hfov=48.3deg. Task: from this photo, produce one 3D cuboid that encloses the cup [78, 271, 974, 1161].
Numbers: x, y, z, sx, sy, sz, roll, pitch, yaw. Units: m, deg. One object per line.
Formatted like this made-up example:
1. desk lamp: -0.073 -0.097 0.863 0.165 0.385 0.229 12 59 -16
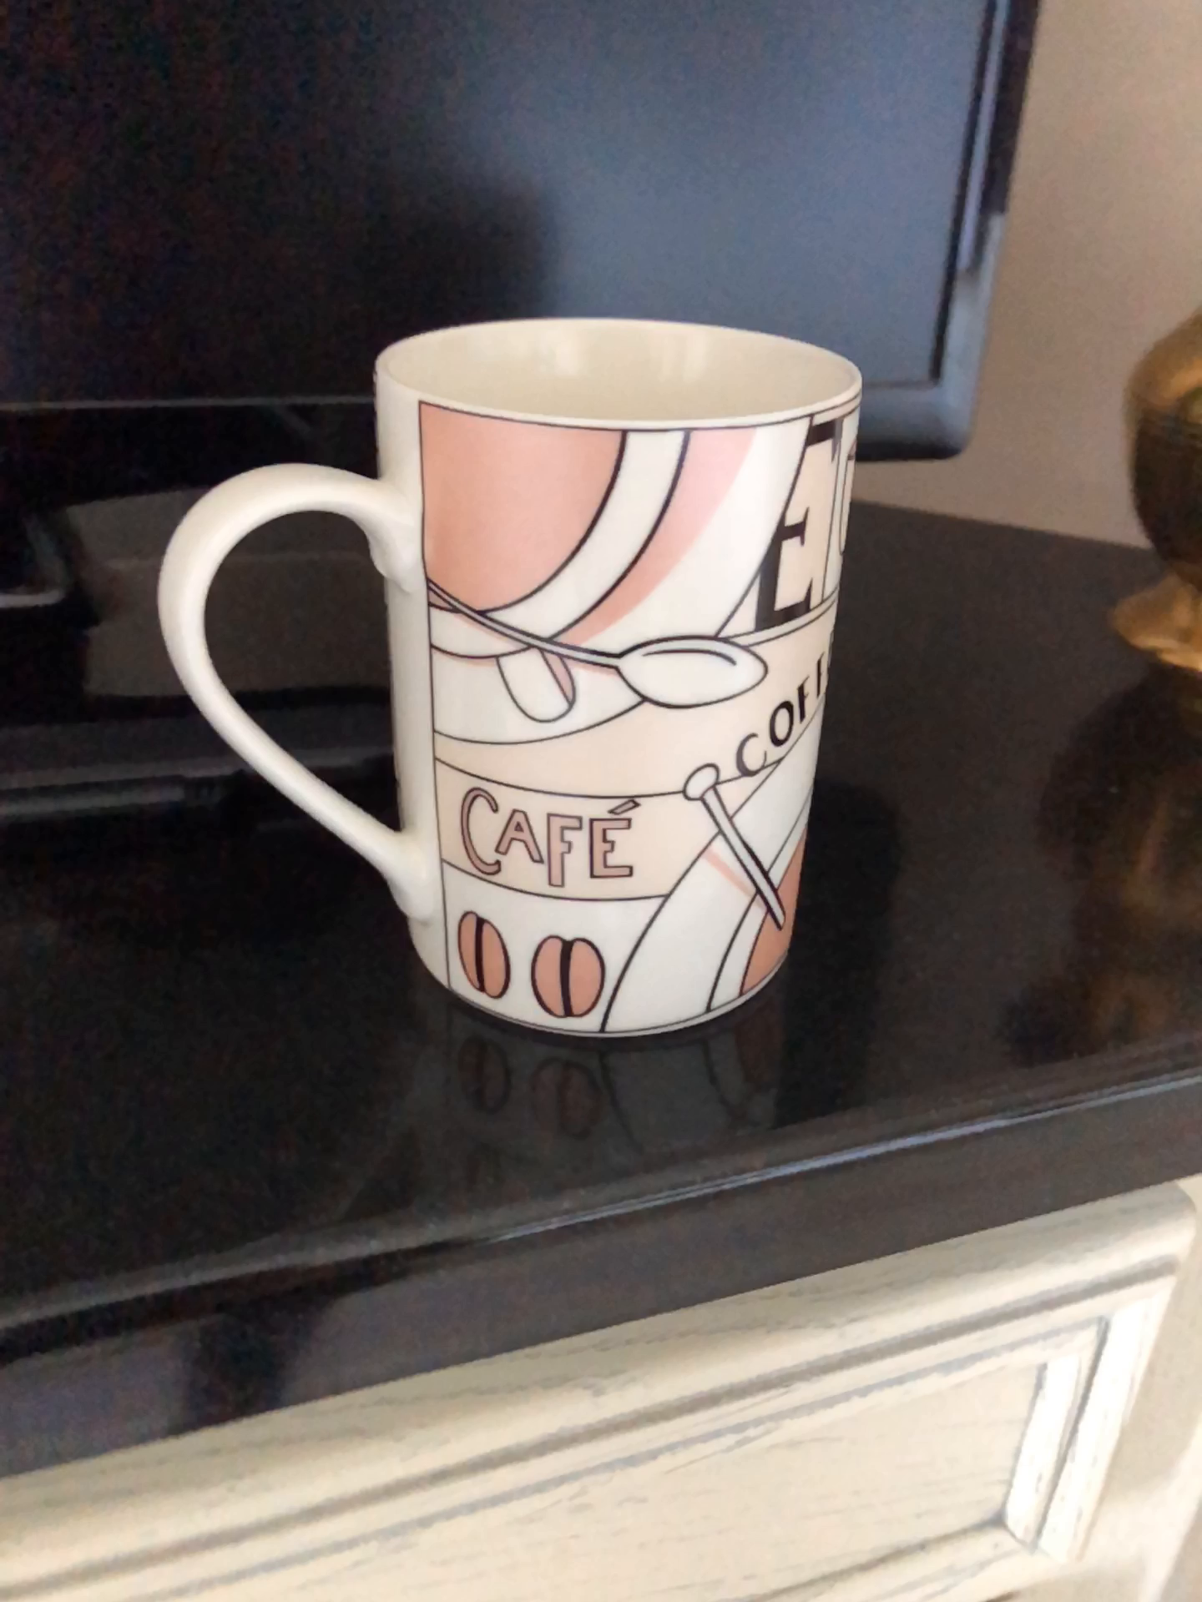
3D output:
1. cup: -0.014 -0.021 0.220 0.110 0.109 0.070 -12 32 -24
